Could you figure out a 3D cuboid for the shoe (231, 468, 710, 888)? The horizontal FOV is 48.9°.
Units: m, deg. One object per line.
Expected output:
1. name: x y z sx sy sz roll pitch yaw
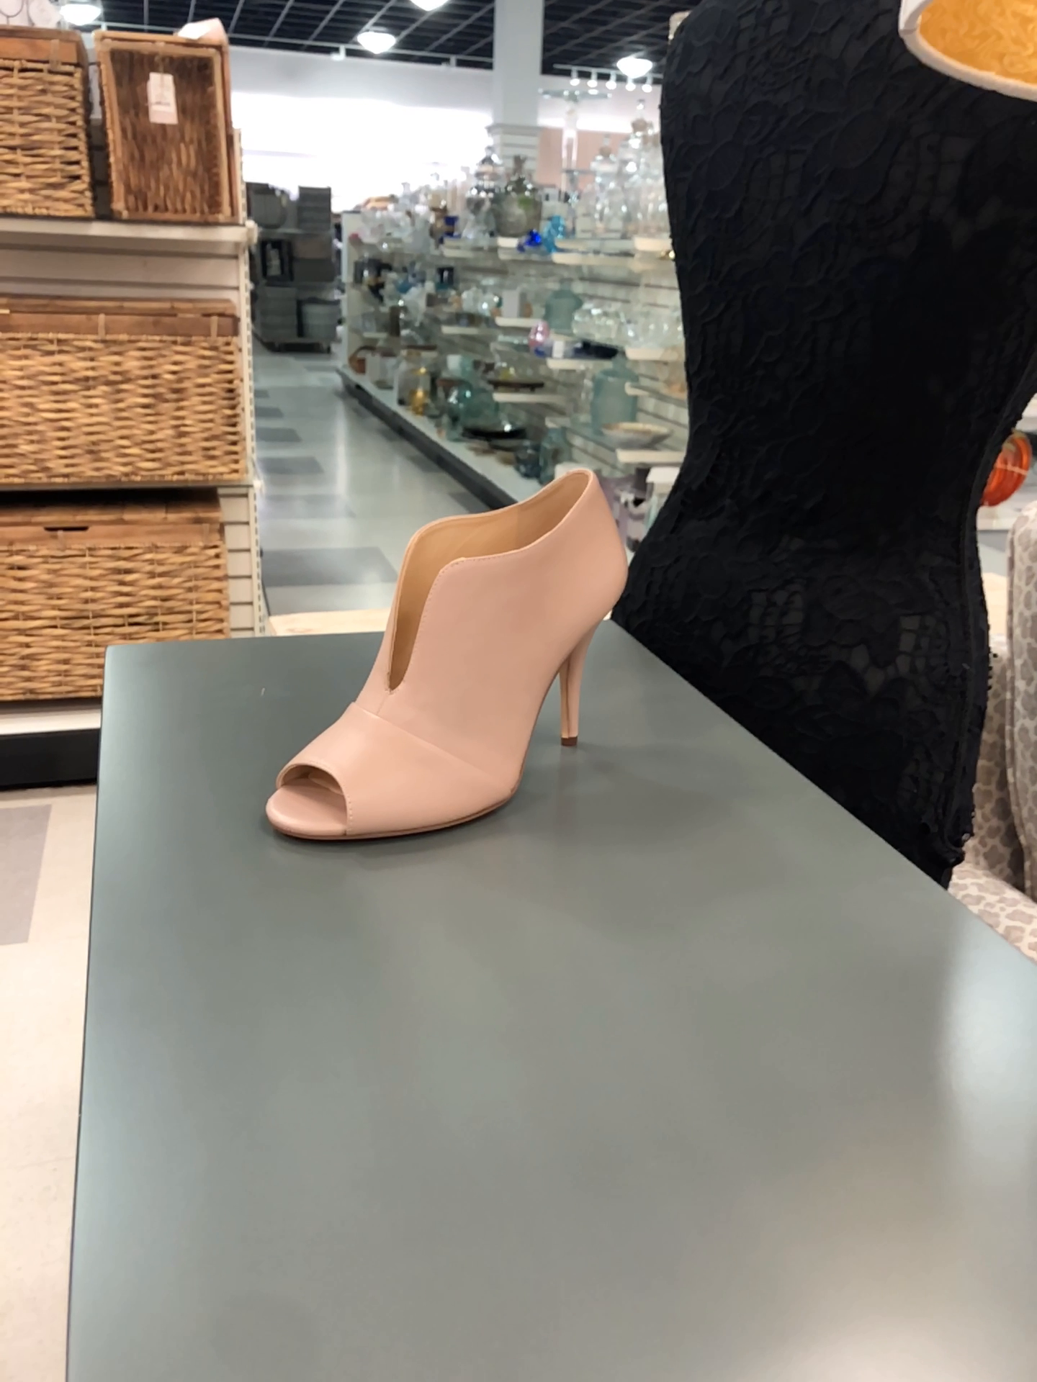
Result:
1. shoe: -0.018 -0.022 0.584 0.225 0.151 0.097 -15 26 -40
